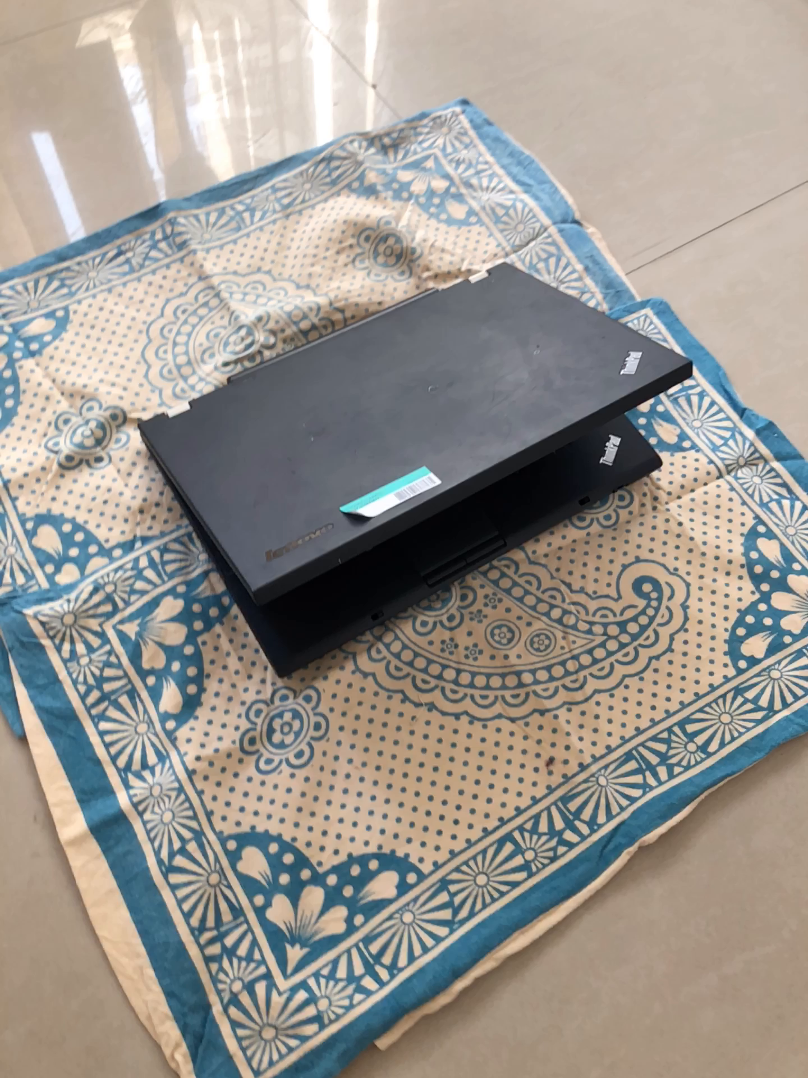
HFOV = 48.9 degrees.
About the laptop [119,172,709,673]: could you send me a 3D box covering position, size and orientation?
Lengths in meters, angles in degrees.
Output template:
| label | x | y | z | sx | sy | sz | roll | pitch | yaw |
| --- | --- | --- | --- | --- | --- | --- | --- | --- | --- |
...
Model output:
| label | x | y | z | sx | sy | sz | roll | pitch | yaw |
| --- | --- | --- | --- | --- | --- | --- | --- | --- | --- |
| laptop | -0.002 | -0.098 | 0.696 | 0.348 | 0.125 | 0.240 | -28 | 67 | -12 |
